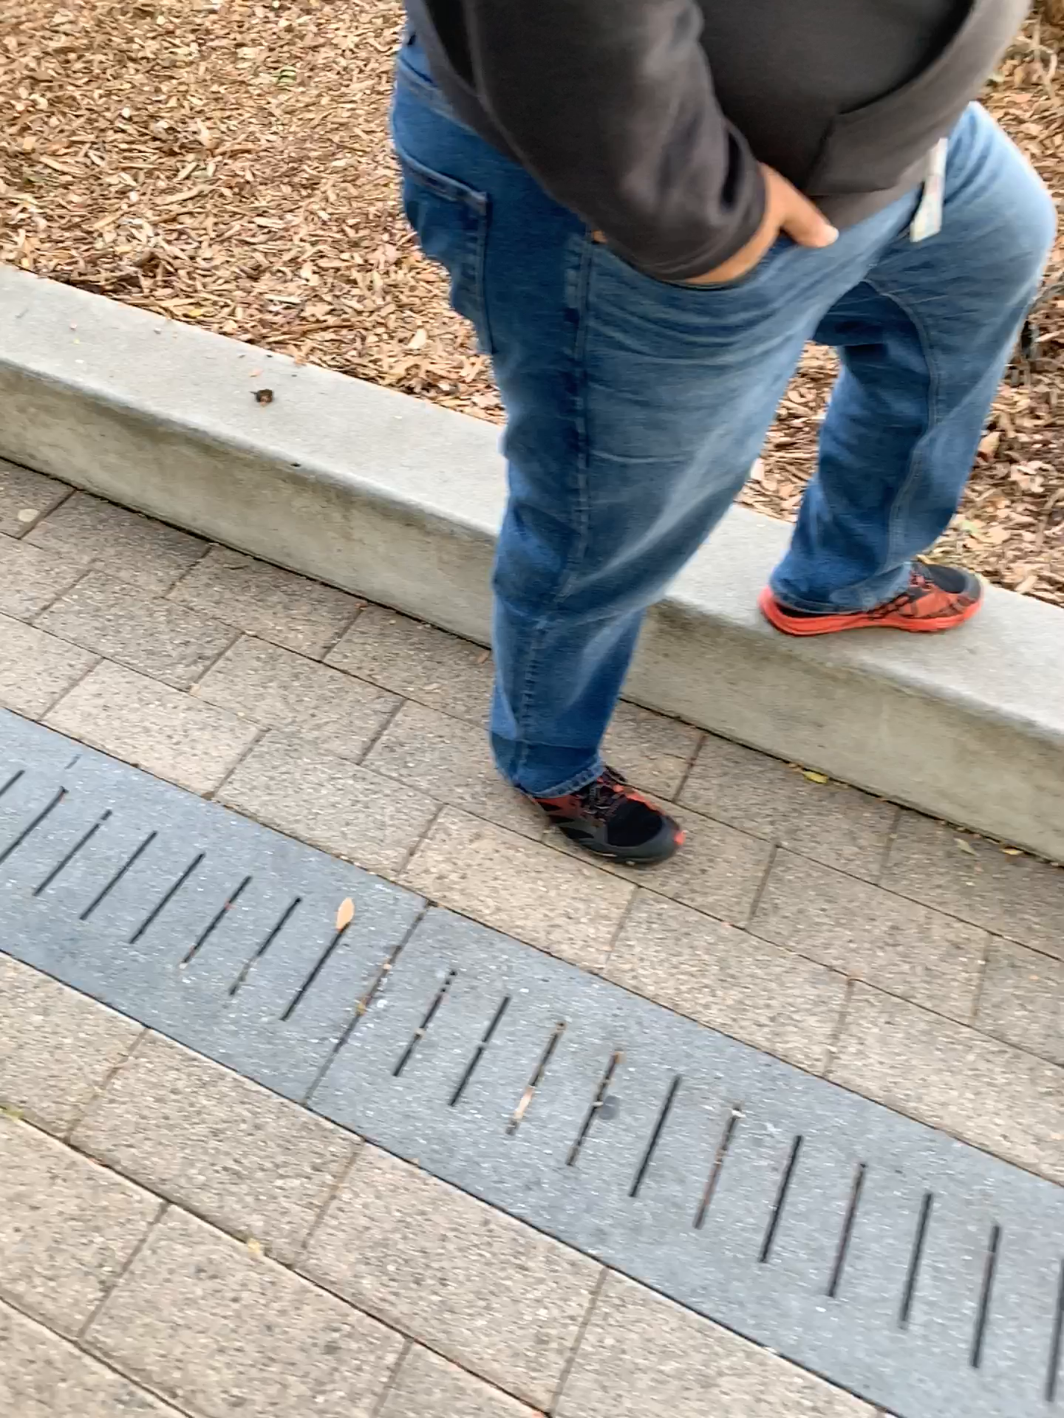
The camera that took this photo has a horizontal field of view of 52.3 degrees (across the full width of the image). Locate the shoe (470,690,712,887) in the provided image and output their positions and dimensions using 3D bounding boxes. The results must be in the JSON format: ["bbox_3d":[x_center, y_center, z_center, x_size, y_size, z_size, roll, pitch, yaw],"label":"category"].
[{"bbox_3d":[0.078,0.106,1.514,0.306,0.080,0.137,27,52,19],"label":"shoe"}]

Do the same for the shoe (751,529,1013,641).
[{"bbox_3d":[0.473,-0.172,1.483,0.310,0.080,0.122,-3,48,-7],"label":"shoe"}]
